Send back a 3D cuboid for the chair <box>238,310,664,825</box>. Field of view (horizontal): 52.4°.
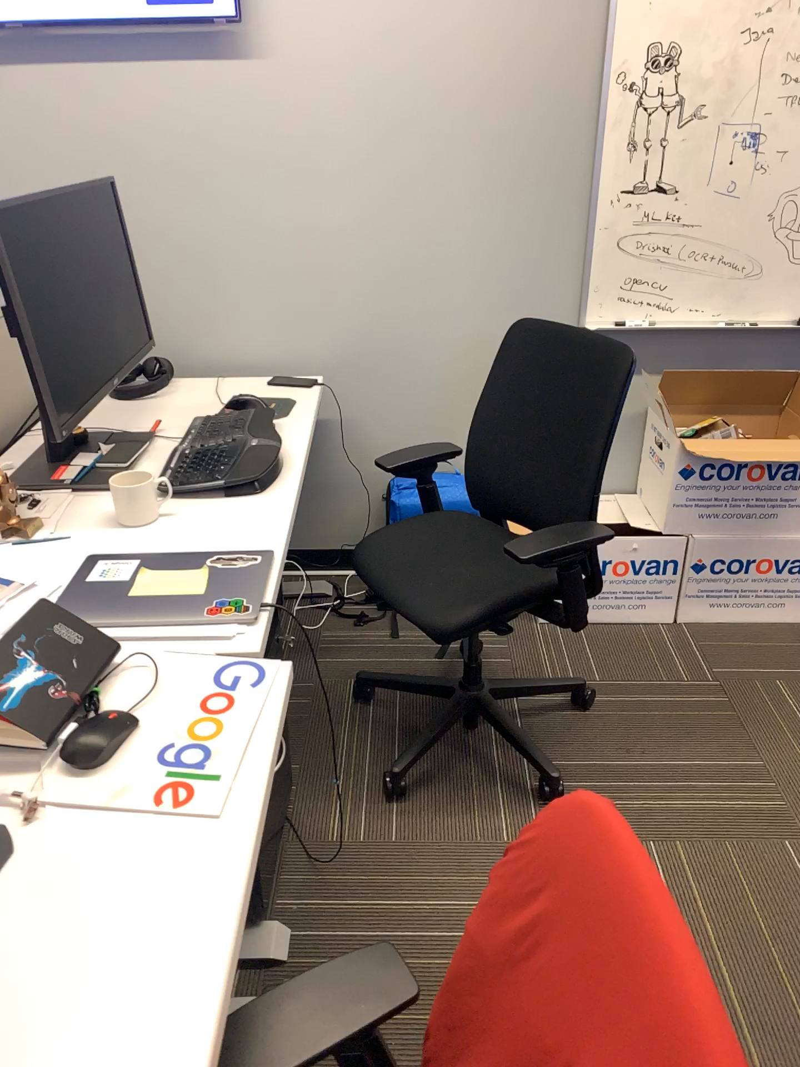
[{"bbox_3d":[0.083,0.009,2.110,0.611,0.945,0.834,-18,31,-31],"label":"chair"}]
